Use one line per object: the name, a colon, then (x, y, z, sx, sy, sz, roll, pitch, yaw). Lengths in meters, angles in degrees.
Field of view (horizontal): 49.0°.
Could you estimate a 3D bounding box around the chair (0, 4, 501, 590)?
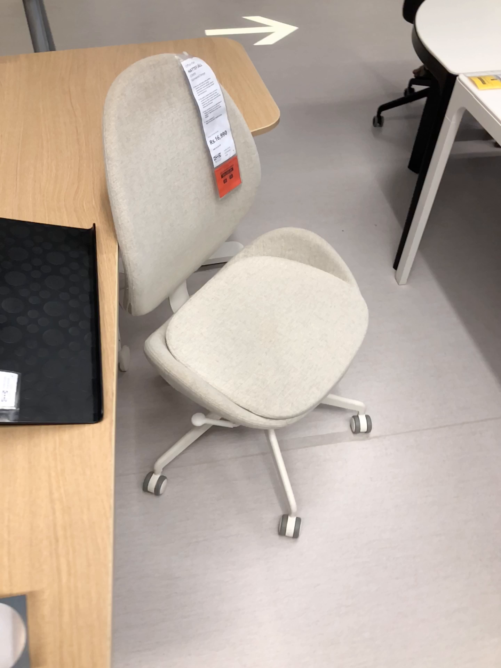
chair: (-0.008, -0.038, 1.256, 0.621, 0.994, 0.663, 26, 54, 20)
